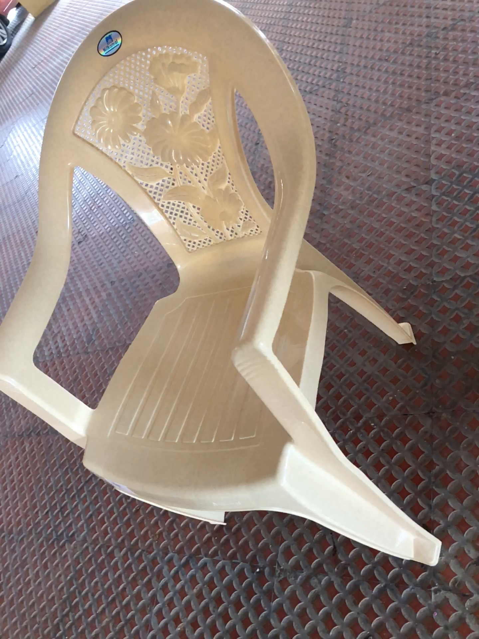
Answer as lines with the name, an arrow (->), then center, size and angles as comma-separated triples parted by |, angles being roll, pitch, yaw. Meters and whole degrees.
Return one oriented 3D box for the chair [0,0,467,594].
chair -> -0.030, 0.007, 0.890 | 0.531, 0.806, 0.612 | -7, 56, 39
